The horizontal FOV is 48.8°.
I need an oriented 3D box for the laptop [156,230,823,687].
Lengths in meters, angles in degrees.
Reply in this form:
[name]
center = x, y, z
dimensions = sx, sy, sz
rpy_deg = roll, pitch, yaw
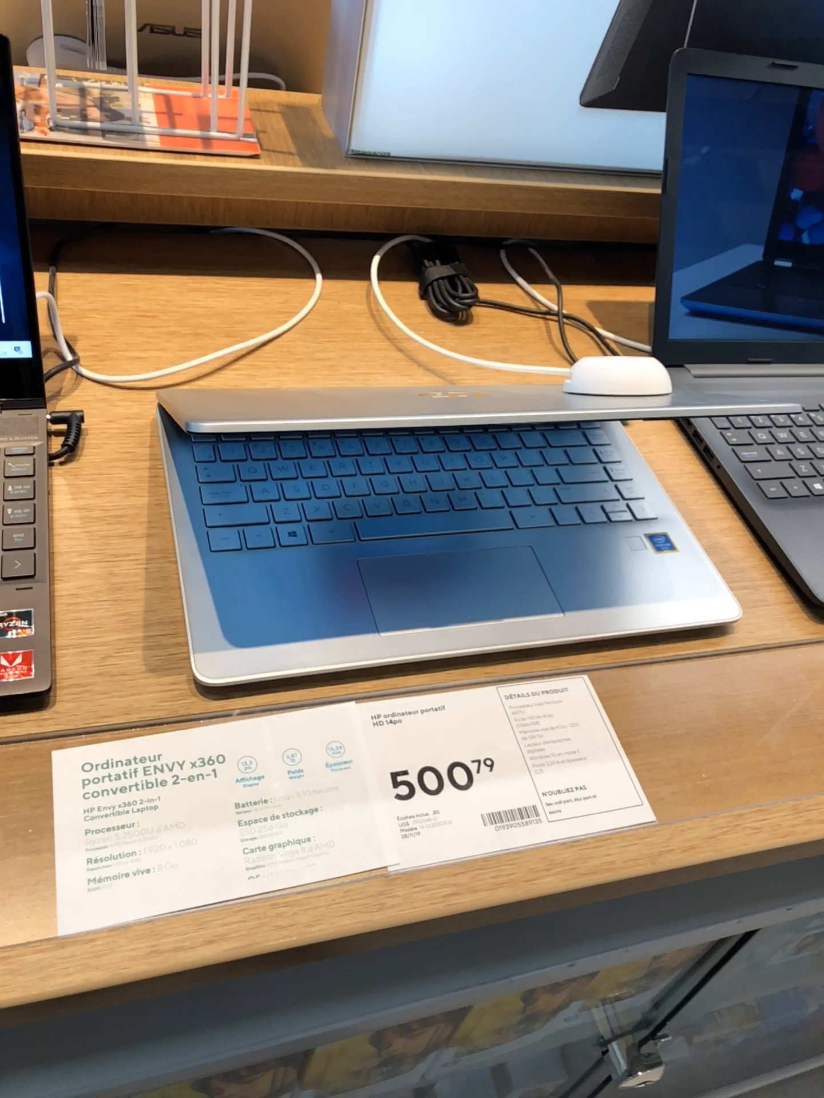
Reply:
[laptop]
center = 0.030, -0.066, 0.511
dimensions = 0.314, 0.110, 0.217
rpy_deg = -5, 49, -18
